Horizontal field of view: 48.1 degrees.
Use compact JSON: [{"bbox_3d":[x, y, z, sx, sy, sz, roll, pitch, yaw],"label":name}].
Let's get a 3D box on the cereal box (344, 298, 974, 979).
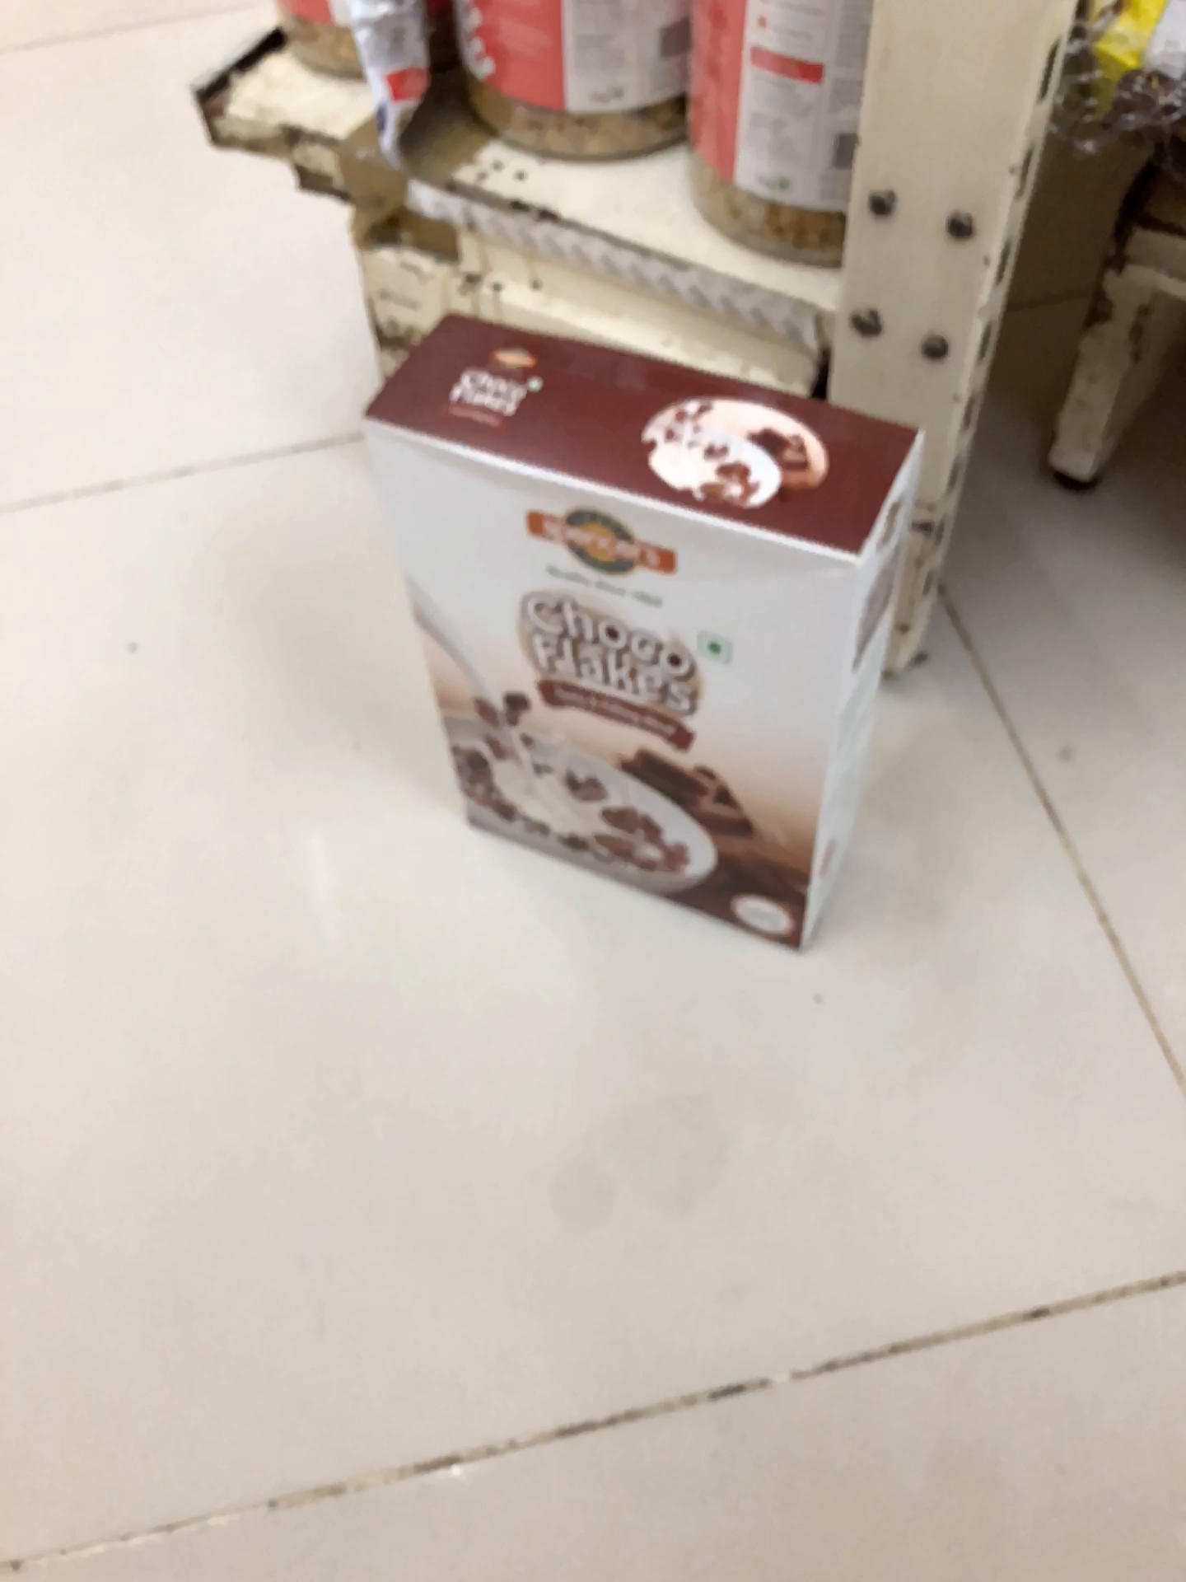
[{"bbox_3d":[0.028,-0.044,0.523,0.190,0.259,0.060,20,60,18],"label":"cereal box"}]
